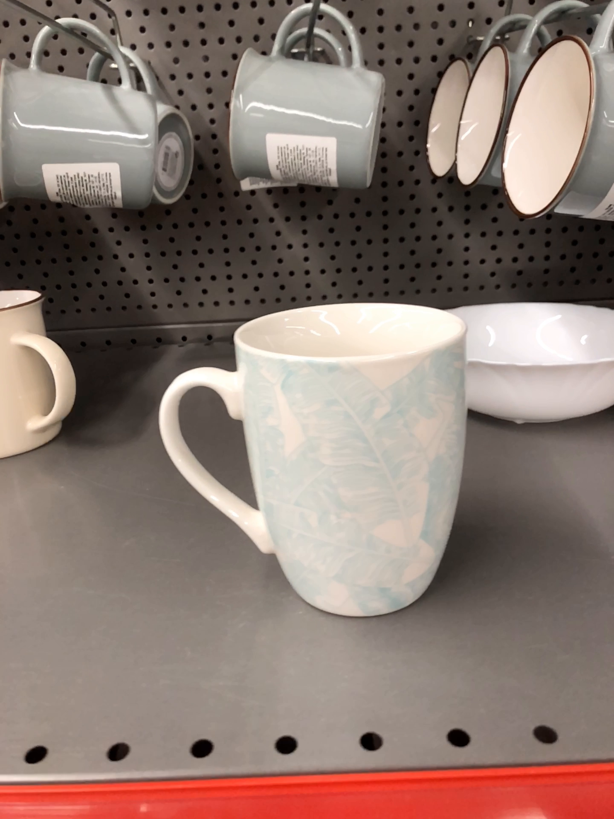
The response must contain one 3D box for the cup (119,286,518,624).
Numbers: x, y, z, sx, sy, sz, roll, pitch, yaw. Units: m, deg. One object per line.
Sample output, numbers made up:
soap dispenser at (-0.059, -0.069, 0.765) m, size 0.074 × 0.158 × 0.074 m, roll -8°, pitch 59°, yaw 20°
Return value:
cup at (0.009, 0.013, 0.260) m, size 0.120 × 0.098 × 0.084 m, roll -1°, pitch 22°, yaw 7°
